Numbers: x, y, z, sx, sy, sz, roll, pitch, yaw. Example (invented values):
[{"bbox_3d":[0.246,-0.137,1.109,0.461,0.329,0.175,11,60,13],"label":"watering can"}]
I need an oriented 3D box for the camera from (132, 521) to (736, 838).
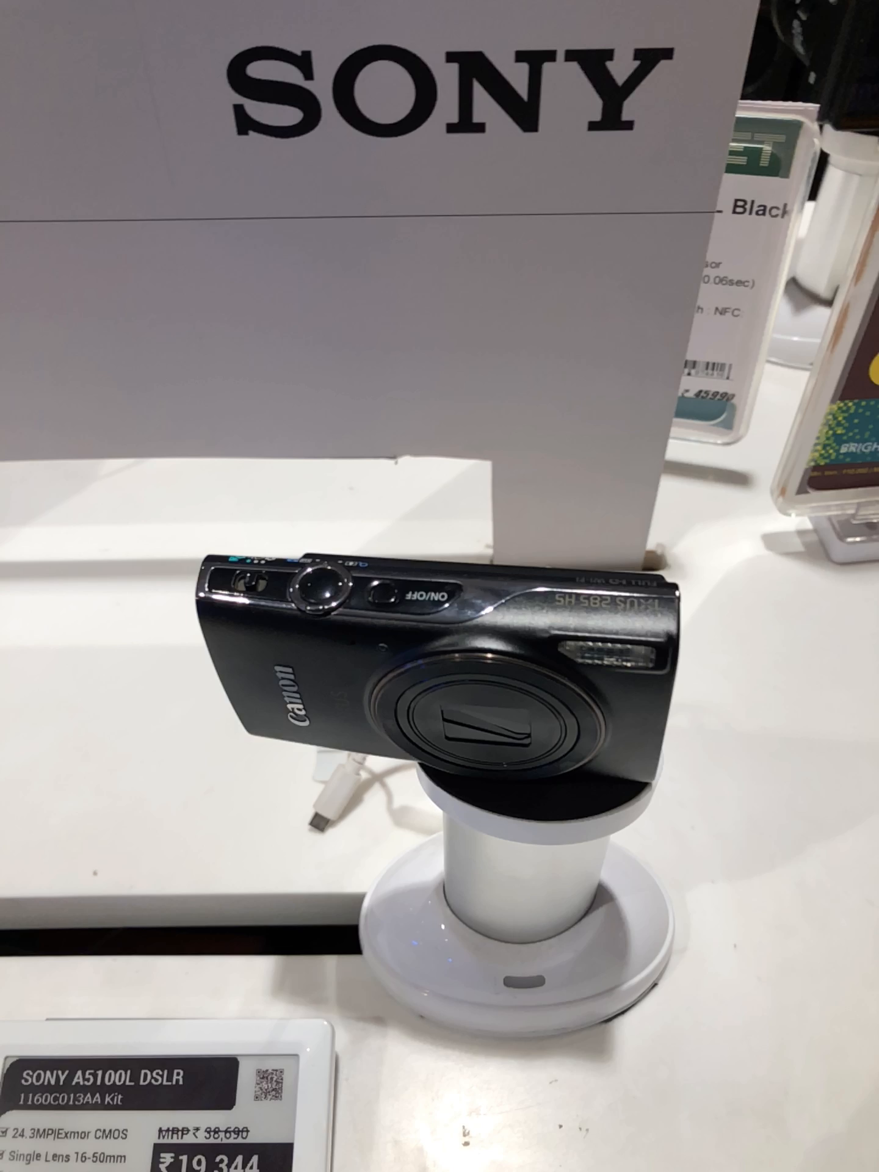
[{"bbox_3d":[0.000,0.021,0.210,0.110,0.060,0.030,4,50,5],"label":"camera"}]
